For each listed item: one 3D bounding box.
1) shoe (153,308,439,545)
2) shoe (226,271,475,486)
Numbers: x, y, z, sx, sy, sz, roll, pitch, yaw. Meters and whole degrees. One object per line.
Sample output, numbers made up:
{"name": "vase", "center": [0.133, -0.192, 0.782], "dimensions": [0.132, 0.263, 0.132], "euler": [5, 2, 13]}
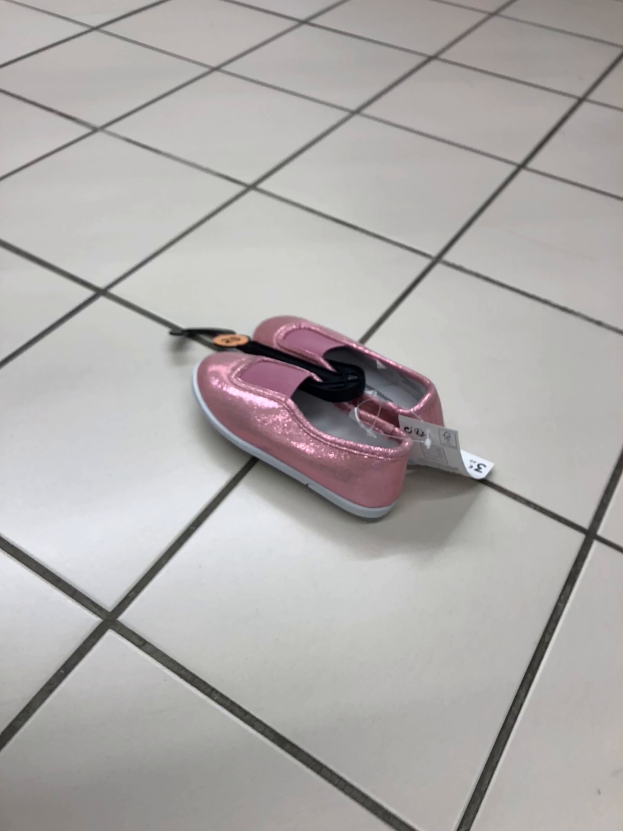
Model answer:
{"name": "shoe", "center": [-0.012, 0.002, 0.436], "dimensions": [0.163, 0.050, 0.070], "euler": [29, 52, 22]}
{"name": "shoe", "center": [0.021, -0.030, 0.467], "dimensions": [0.161, 0.051, 0.059], "euler": [34, 55, 25]}
